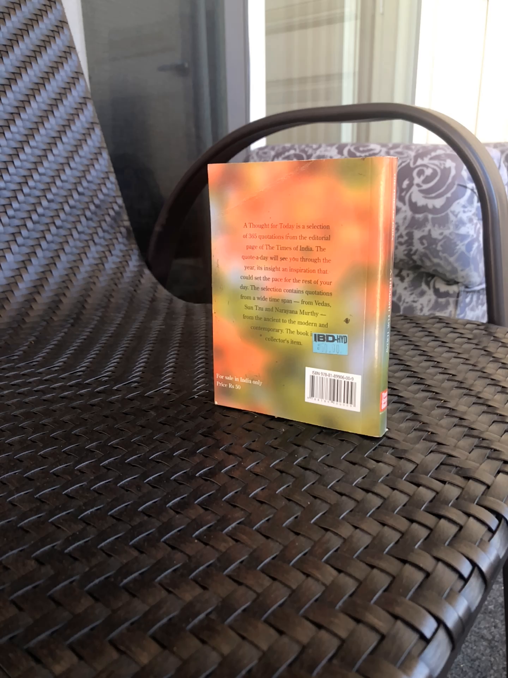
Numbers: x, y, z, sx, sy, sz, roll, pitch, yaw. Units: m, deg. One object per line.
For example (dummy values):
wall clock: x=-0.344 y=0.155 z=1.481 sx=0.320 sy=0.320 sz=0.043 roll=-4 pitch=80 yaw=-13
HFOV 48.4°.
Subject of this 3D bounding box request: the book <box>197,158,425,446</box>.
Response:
book: x=0.024 y=-0.023 z=0.288 sx=0.106 sy=0.129 sz=0.031 roll=9 pitch=16 yaw=29
